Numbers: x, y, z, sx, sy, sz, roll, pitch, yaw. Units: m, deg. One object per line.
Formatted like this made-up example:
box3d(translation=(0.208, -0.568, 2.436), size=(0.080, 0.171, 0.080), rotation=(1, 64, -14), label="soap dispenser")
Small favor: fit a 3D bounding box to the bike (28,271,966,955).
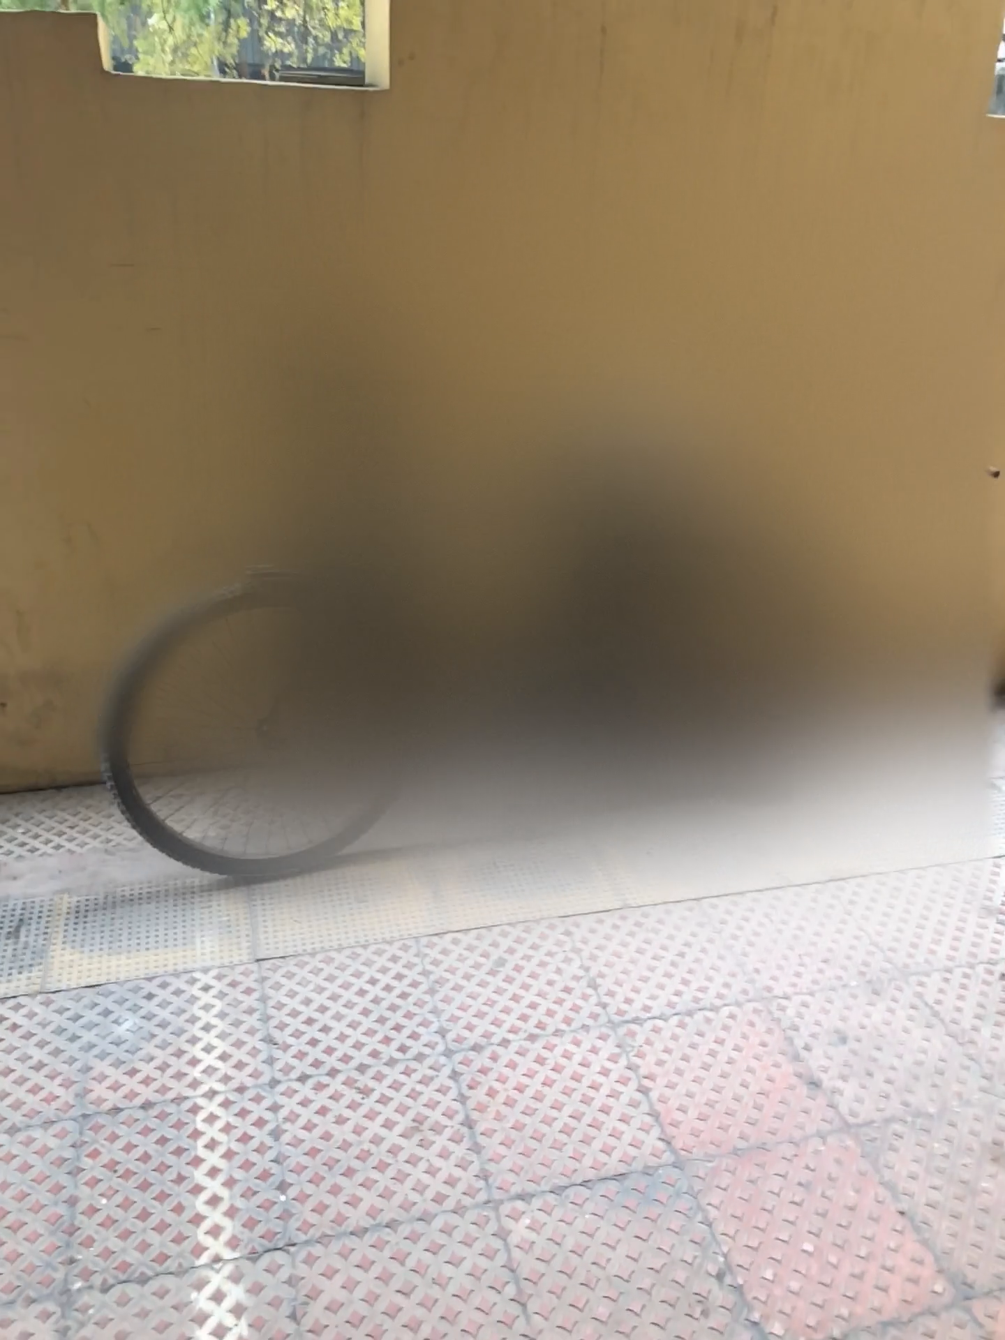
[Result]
box3d(translation=(0.034, -0.156, 2.127), size=(1.546, 0.999, 0.544), rotation=(-5, 28, -21), label="bike")
